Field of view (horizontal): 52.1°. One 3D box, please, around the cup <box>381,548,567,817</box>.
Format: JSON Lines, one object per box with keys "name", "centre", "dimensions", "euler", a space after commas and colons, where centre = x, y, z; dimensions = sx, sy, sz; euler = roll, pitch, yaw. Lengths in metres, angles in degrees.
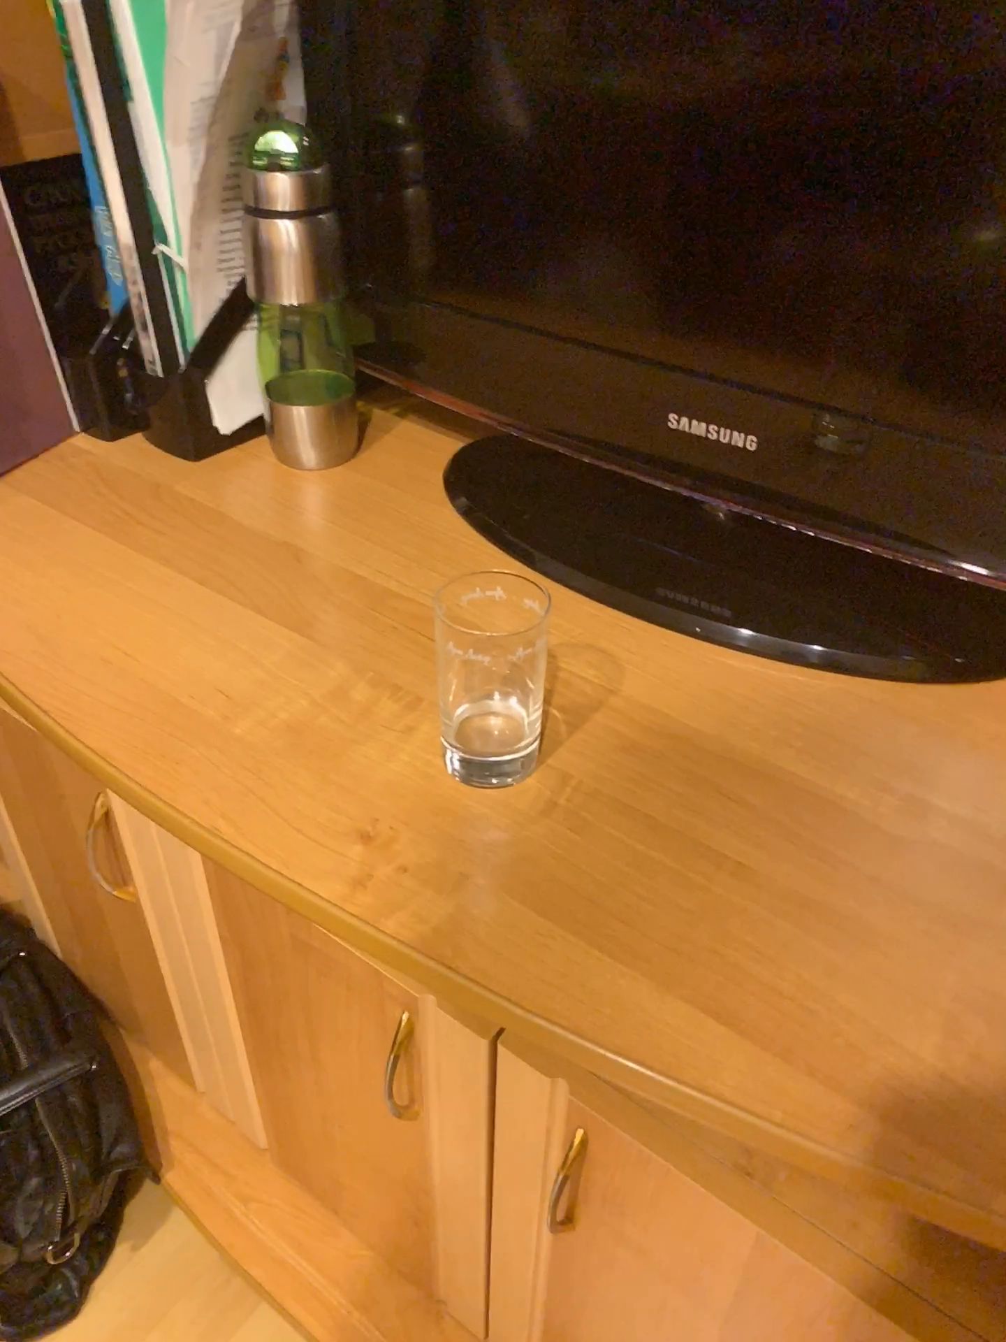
{"name": "cup", "centre": [-0.014, 0.005, 0.501], "dimensions": [0.061, 0.098, 0.060], "euler": [0, 37, 0]}
